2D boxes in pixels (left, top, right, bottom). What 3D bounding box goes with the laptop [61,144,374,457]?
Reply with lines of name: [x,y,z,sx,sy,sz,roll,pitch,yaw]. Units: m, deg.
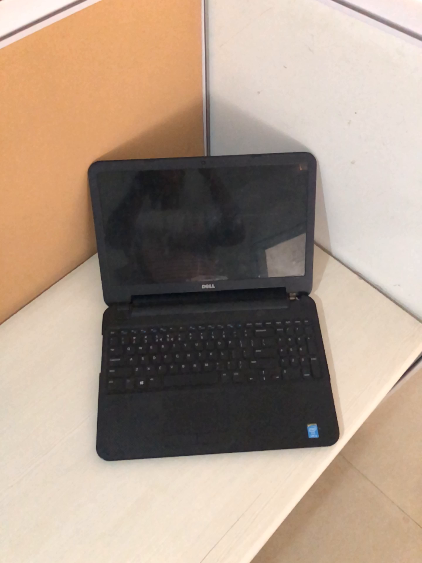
laptop: [-0.003,0.019,0.697,0.352,0.175,0.415,-3,61,-1]
